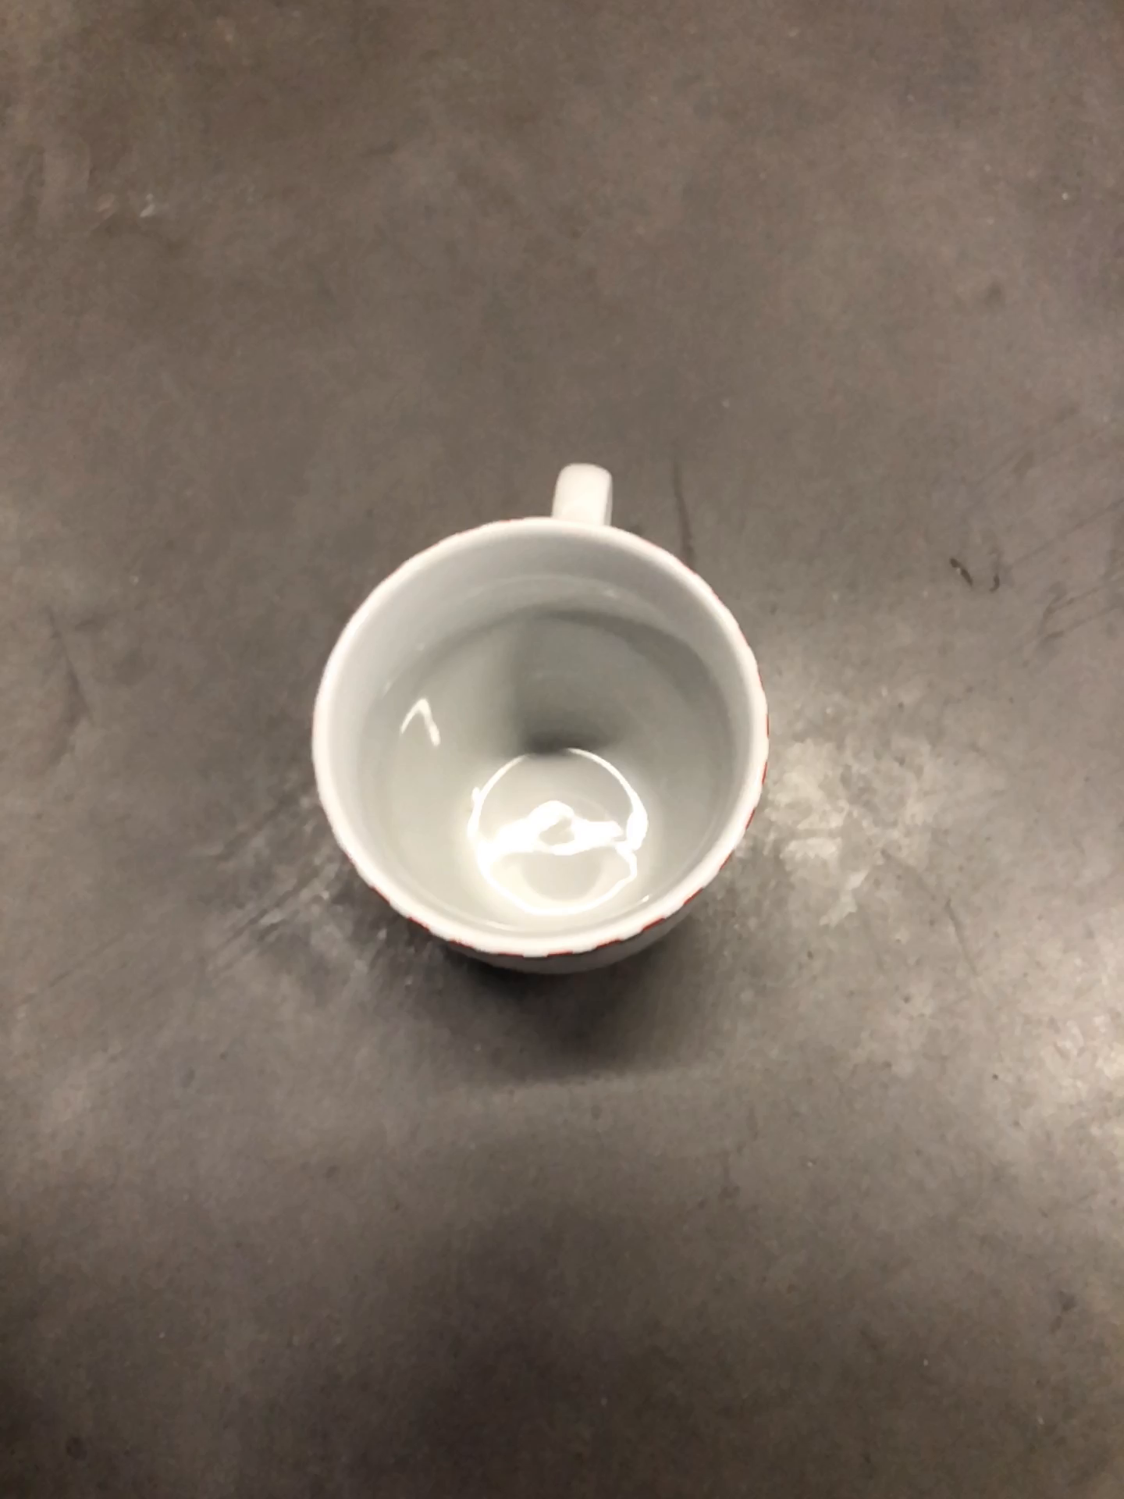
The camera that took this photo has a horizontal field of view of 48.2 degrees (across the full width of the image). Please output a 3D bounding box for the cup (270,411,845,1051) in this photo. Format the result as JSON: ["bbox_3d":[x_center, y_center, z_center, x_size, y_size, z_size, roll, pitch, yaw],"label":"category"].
[{"bbox_3d":[0.003,0.004,0.257,0.087,0.092,0.103,5,75,3],"label":"cup"}]
